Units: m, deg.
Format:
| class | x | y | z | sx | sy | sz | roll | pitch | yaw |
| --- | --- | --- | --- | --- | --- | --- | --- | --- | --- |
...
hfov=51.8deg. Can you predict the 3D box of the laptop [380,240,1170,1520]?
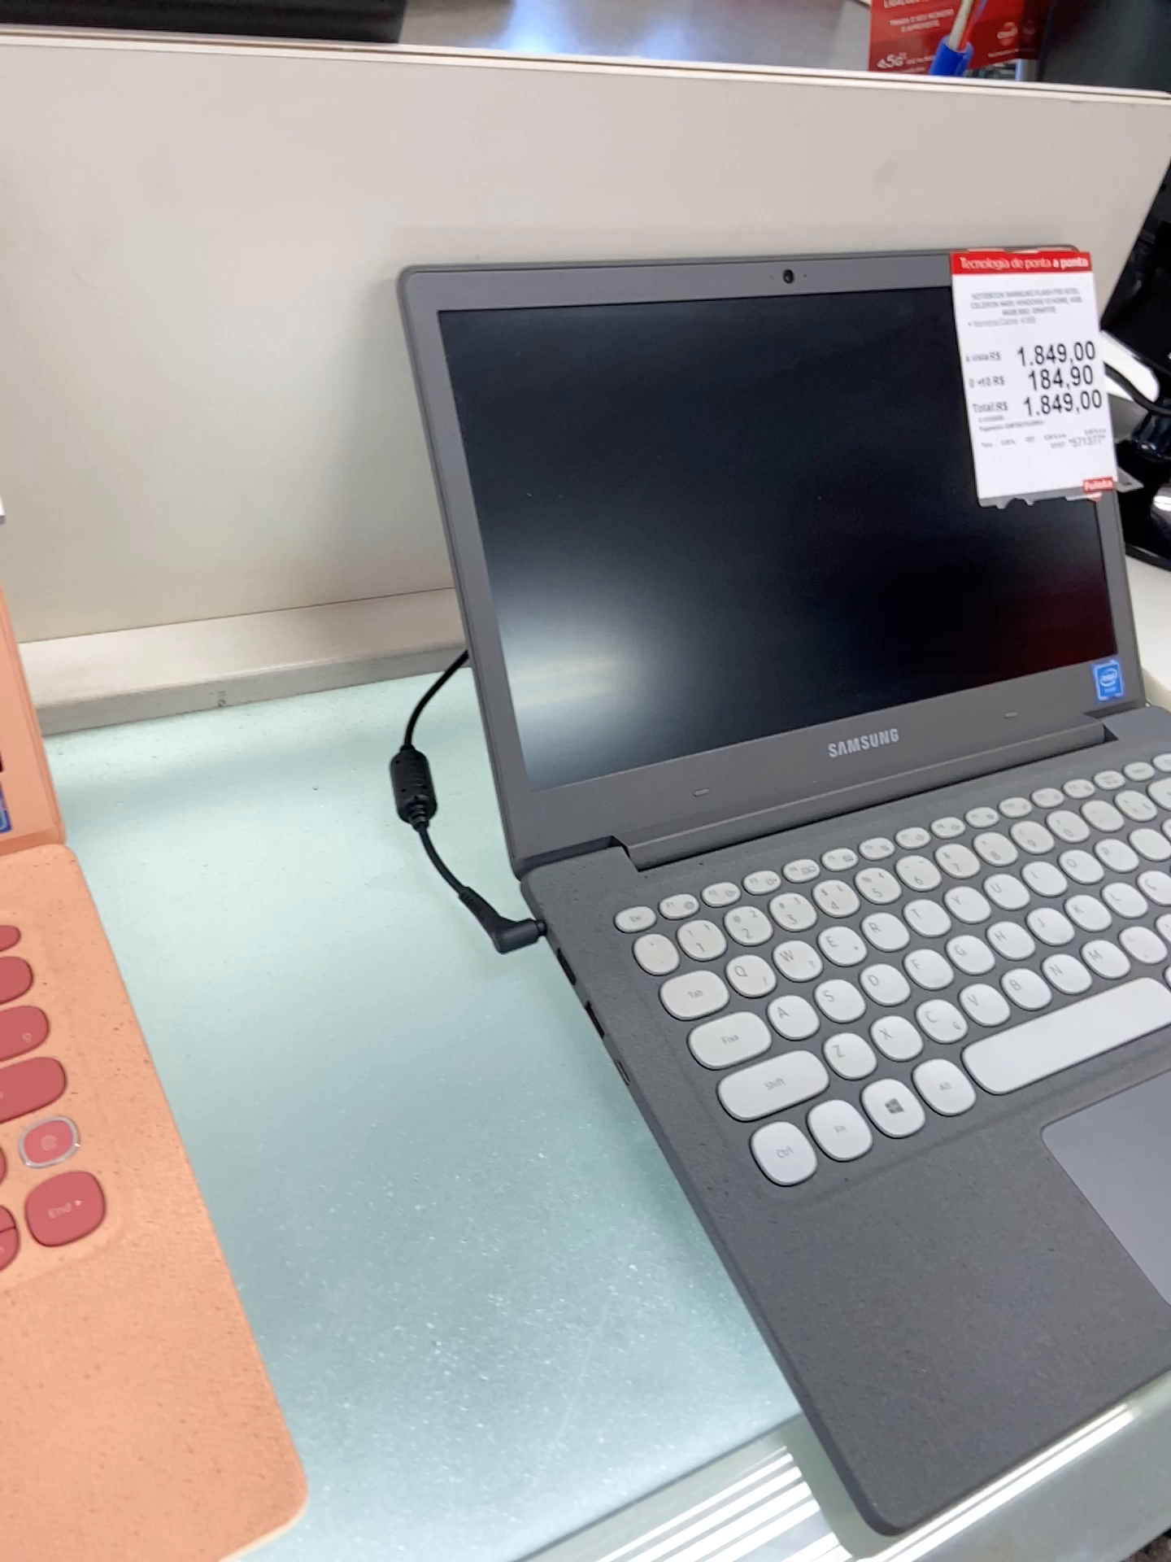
| class | x | y | z | sx | sy | sz | roll | pitch | yaw |
| --- | --- | --- | --- | --- | --- | --- | --- | --- | --- |
| laptop | 0.145 | -0.033 | 0.415 | 0.320 | 0.144 | 0.365 | -13 | 50 | -25 |
